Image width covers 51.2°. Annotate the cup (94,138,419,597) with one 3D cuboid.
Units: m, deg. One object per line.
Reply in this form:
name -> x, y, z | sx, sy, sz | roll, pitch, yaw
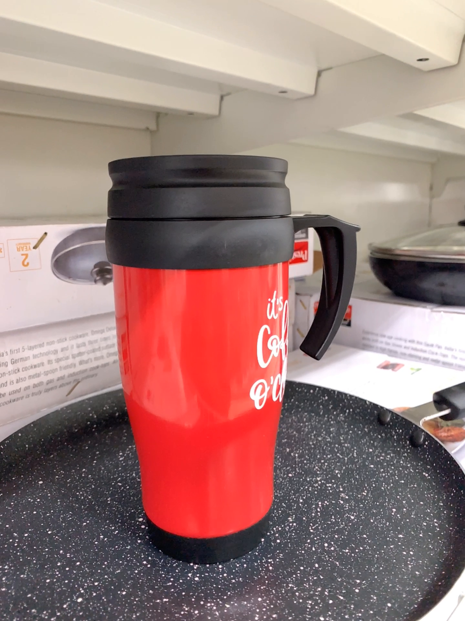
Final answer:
cup -> 0.008, 0.013, 0.237 | 0.120, 0.169, 0.090 | -6, 12, -25
